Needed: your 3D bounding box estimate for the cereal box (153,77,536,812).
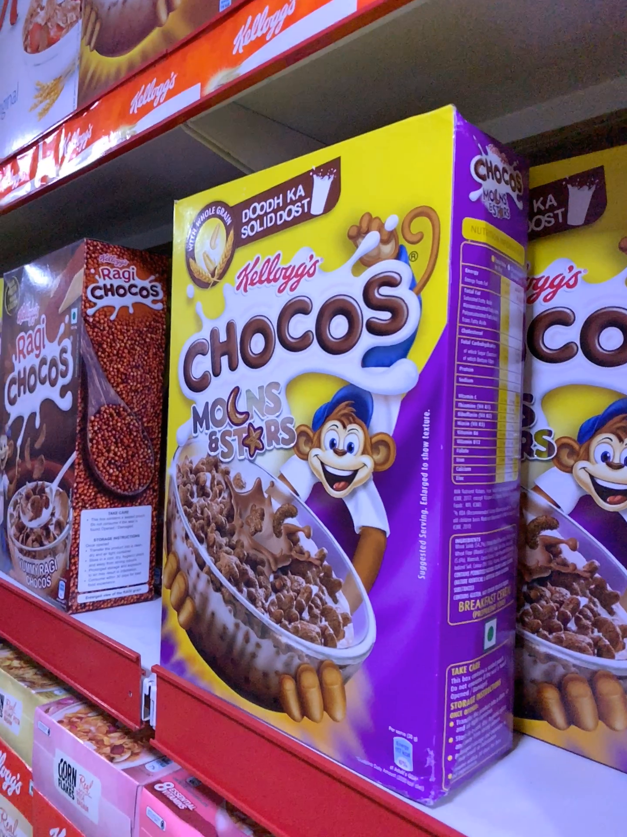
[{"bbox_3d":[0.003,0.006,0.306,0.180,0.250,0.060,1,-1,44],"label":"cereal box"}]
